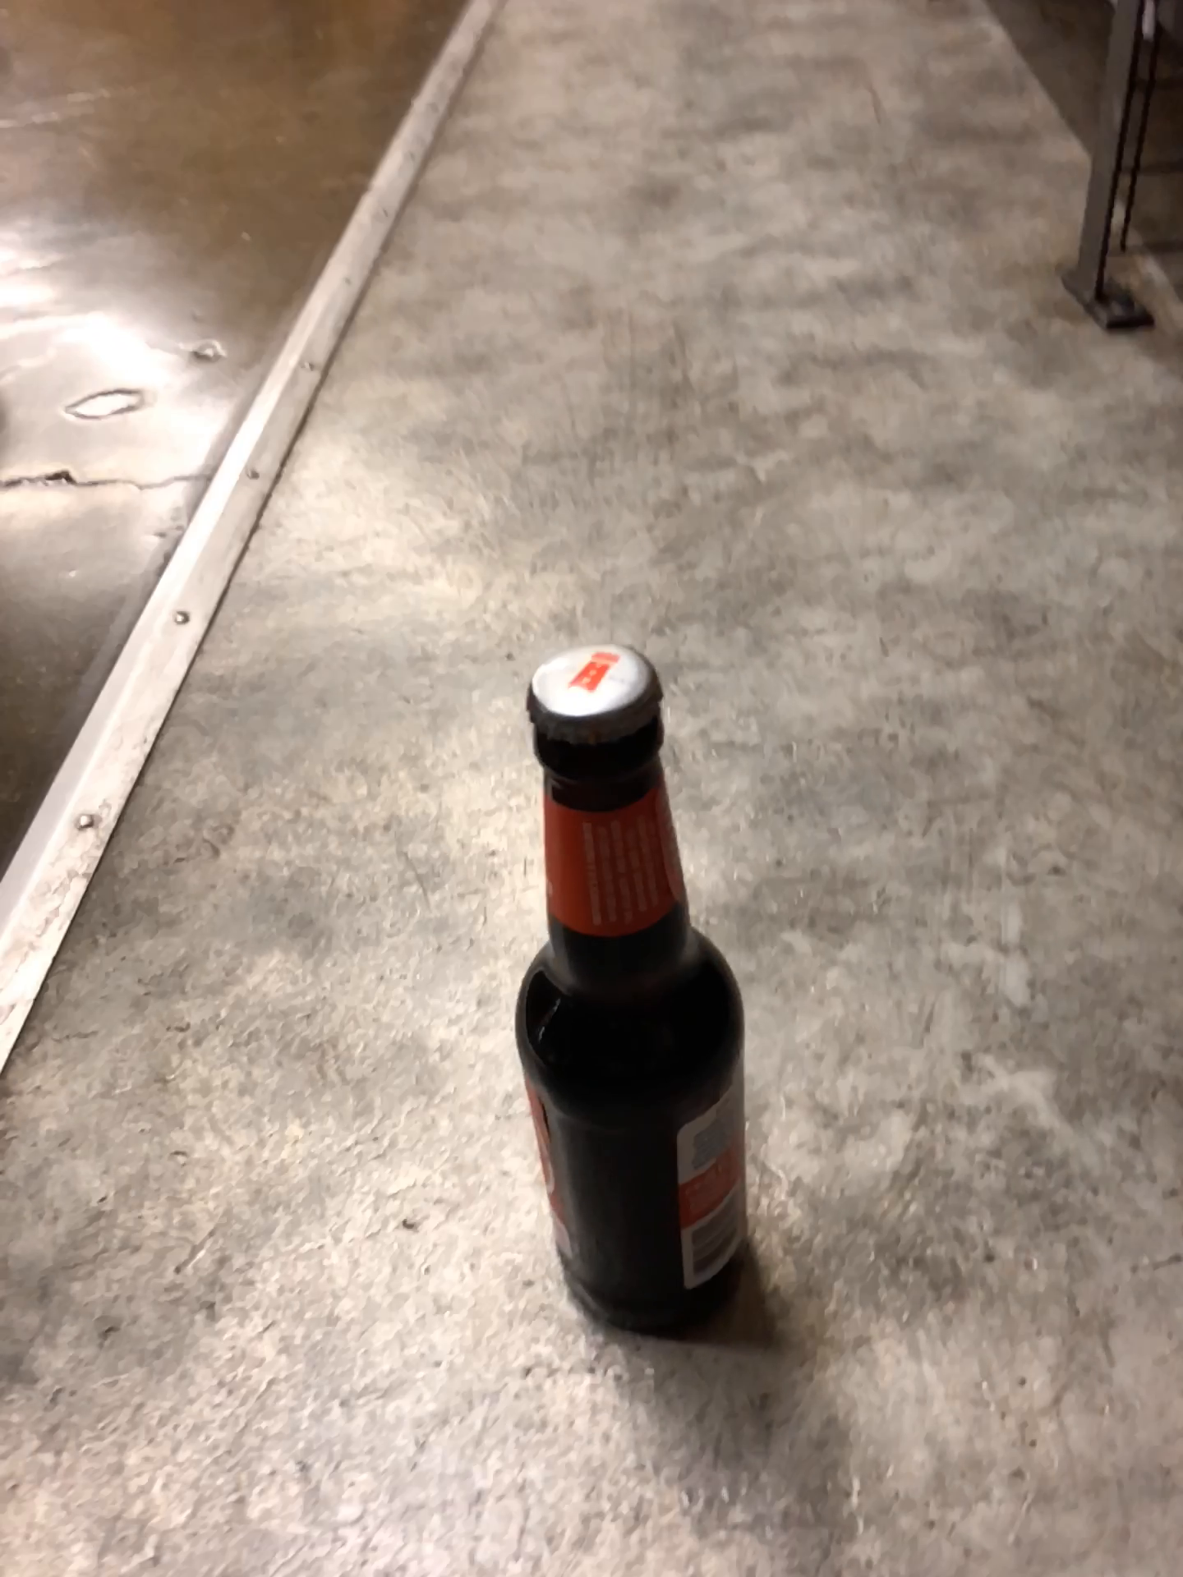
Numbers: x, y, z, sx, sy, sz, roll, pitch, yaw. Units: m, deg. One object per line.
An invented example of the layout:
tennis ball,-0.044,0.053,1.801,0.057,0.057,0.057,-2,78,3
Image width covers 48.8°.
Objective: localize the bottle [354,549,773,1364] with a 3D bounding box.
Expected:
bottle,0.005,0.055,0.327,0.060,0.220,0.059,-4,42,3
